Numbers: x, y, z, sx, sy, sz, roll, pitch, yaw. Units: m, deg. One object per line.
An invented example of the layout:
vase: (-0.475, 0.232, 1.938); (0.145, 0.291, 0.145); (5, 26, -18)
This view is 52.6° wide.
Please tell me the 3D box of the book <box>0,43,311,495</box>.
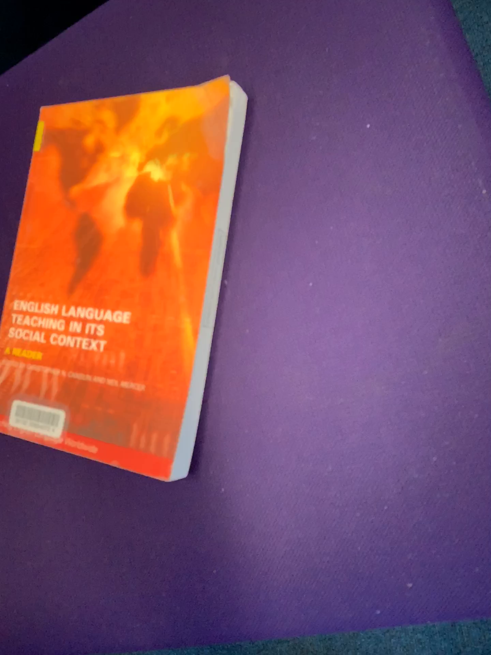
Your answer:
book: (-0.083, -0.046, 0.359); (0.221, 0.050, 0.270); (5, 81, 27)
